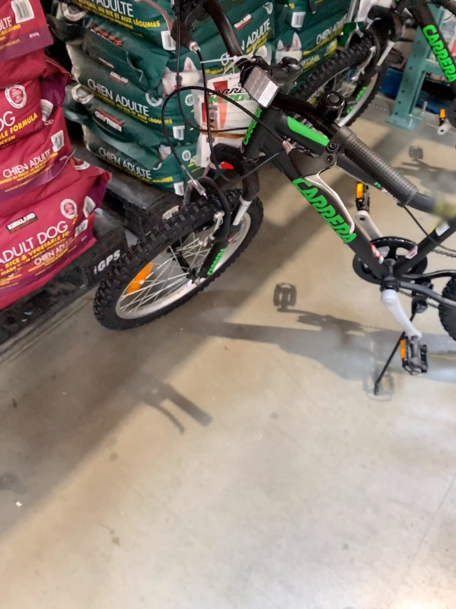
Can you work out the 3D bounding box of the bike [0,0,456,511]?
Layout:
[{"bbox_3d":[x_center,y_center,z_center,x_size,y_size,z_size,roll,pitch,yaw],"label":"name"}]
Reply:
[{"bbox_3d":[0.363,-0.098,0.936,1.304,0.856,0.711,2,50,-1],"label":"bike"}]
